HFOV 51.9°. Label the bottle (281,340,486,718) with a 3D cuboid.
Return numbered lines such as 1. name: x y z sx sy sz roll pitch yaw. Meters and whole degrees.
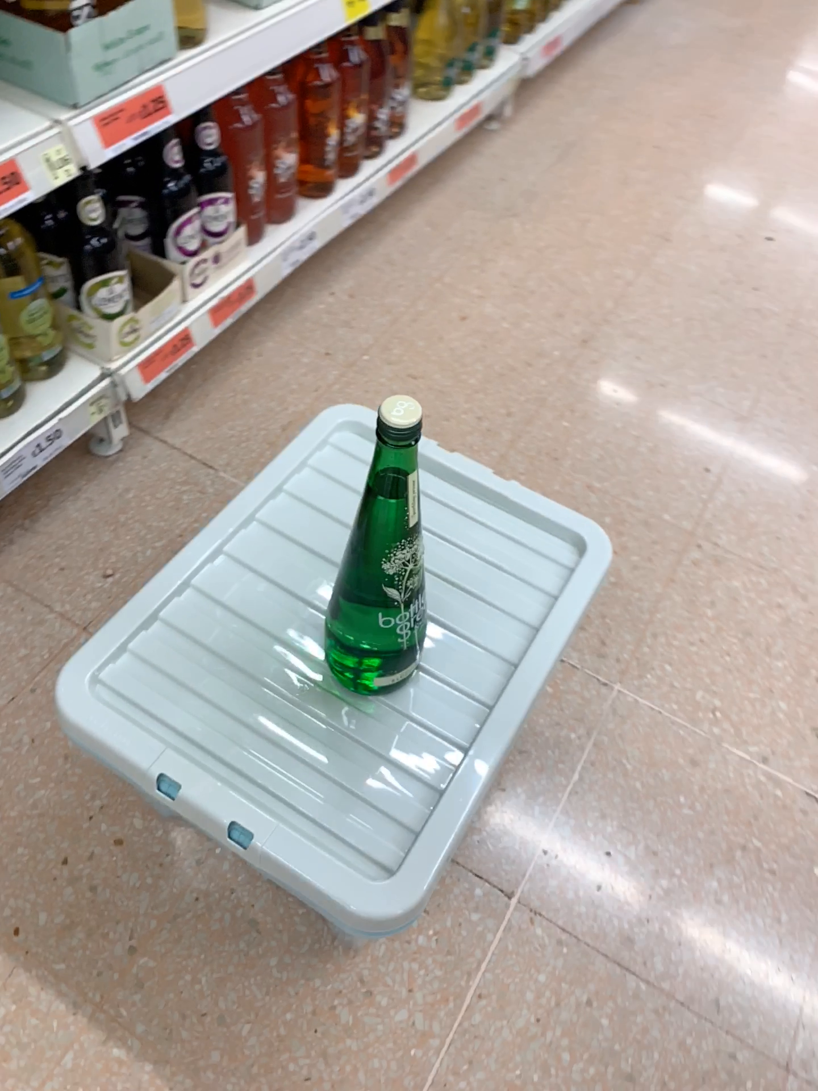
1. bottle: -0.030 0.006 0.628 0.093 0.298 0.084 34 56 18
